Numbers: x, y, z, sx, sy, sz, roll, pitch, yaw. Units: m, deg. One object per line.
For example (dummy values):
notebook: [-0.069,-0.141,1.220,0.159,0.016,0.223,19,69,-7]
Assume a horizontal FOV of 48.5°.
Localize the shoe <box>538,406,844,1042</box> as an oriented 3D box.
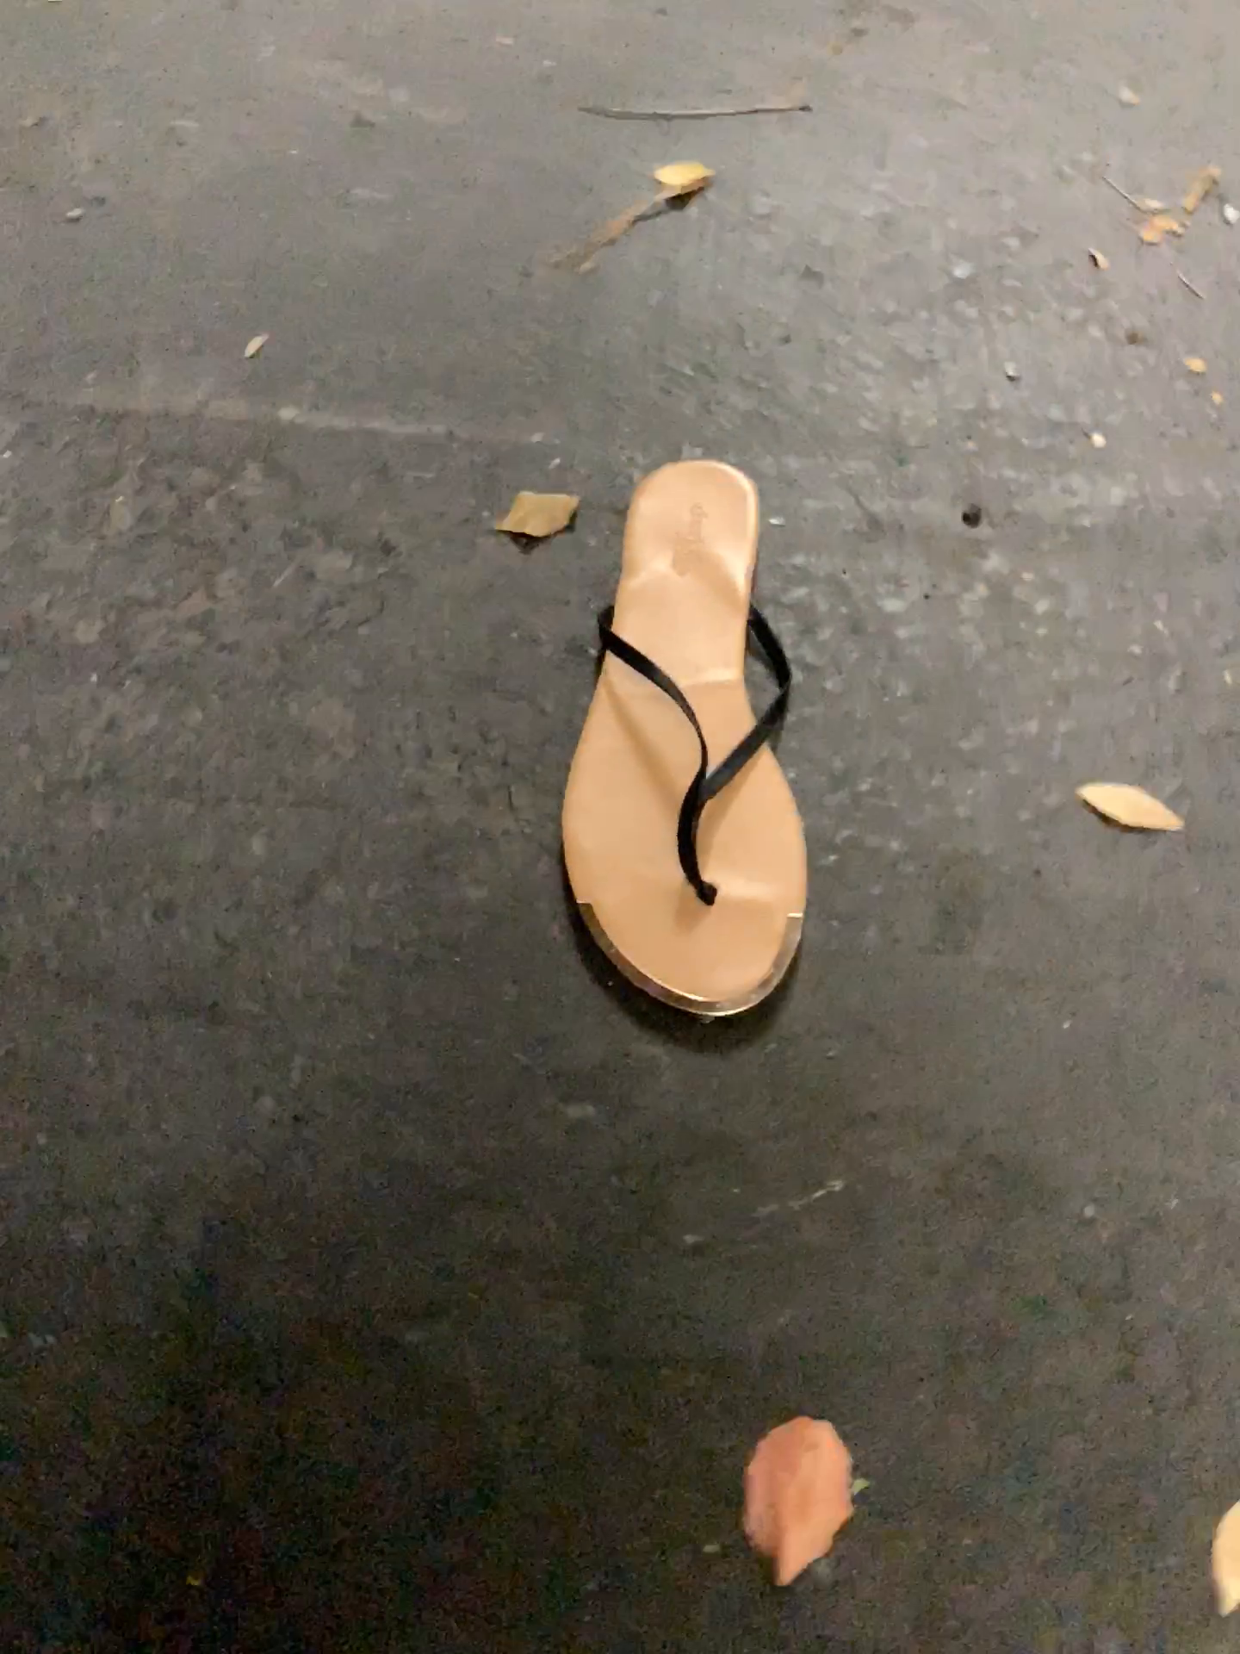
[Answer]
shoe: [0.027,-0.055,0.577,0.110,0.030,0.290,-4,60,7]
